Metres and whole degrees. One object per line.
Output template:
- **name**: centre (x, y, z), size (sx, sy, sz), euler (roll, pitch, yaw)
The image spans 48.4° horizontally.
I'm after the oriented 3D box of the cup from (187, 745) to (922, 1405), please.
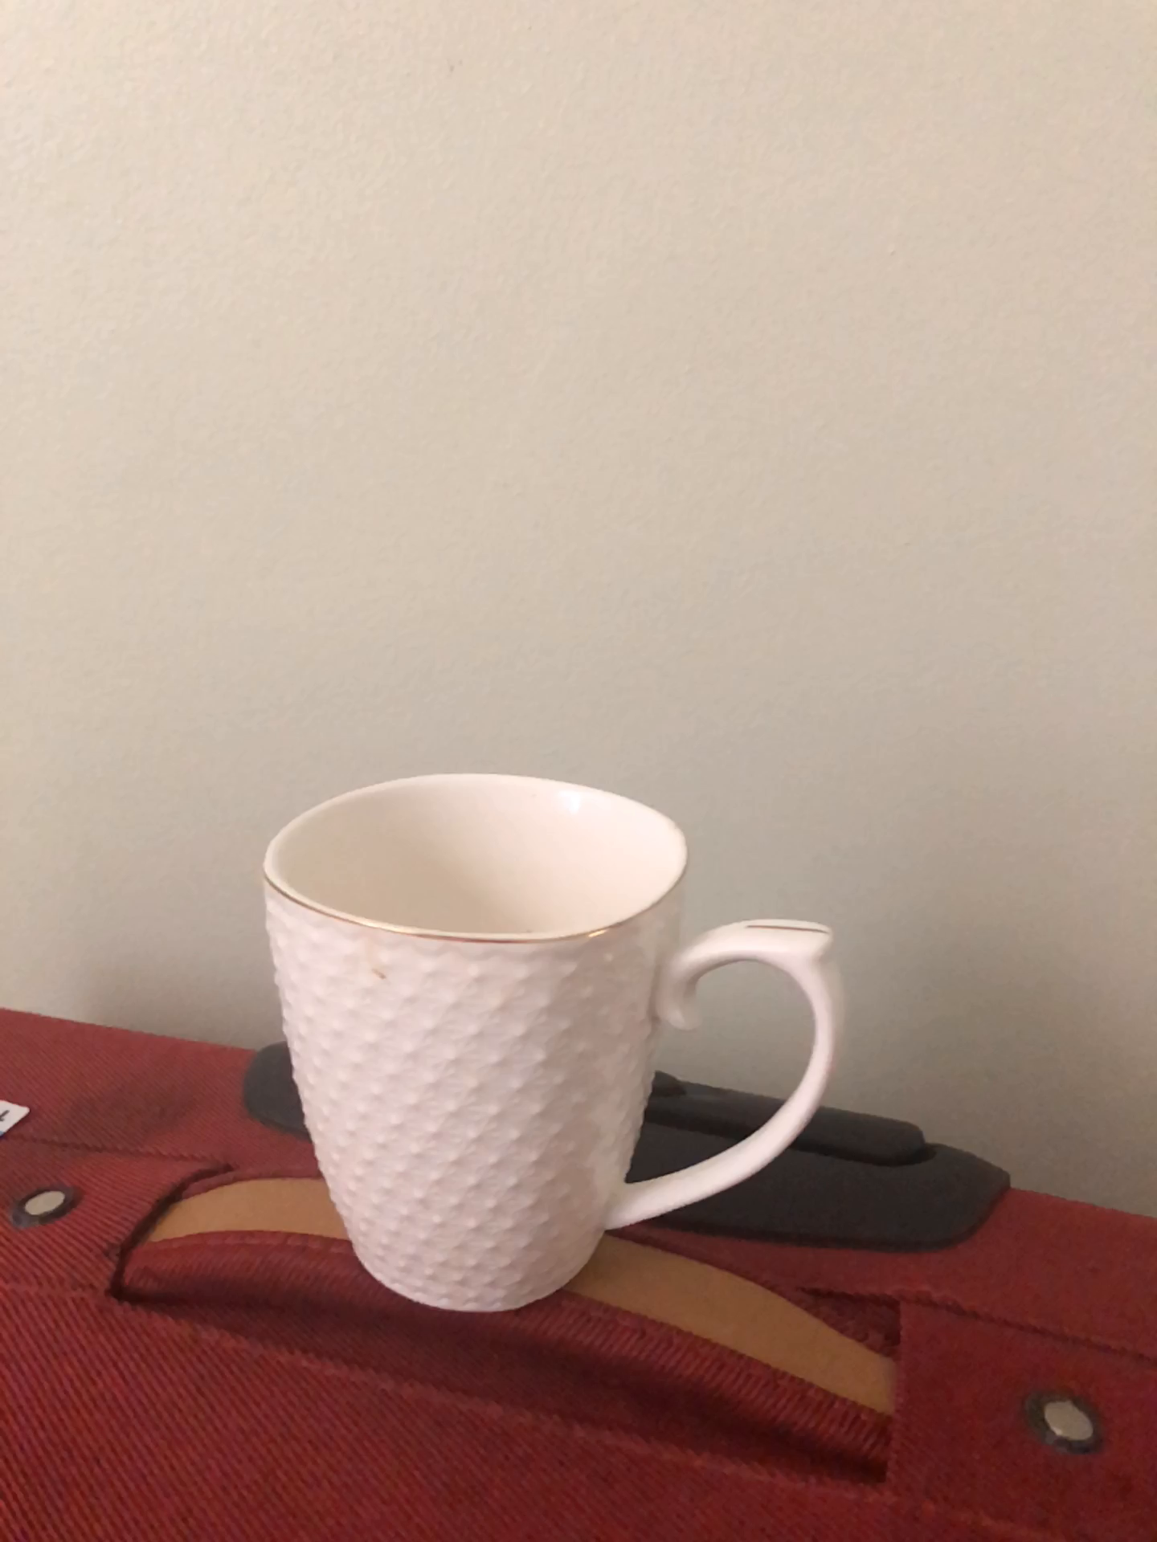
- **cup**: centre (0.000, 0.050, 0.241), size (0.111, 0.084, 0.075), euler (3, 21, 8)
